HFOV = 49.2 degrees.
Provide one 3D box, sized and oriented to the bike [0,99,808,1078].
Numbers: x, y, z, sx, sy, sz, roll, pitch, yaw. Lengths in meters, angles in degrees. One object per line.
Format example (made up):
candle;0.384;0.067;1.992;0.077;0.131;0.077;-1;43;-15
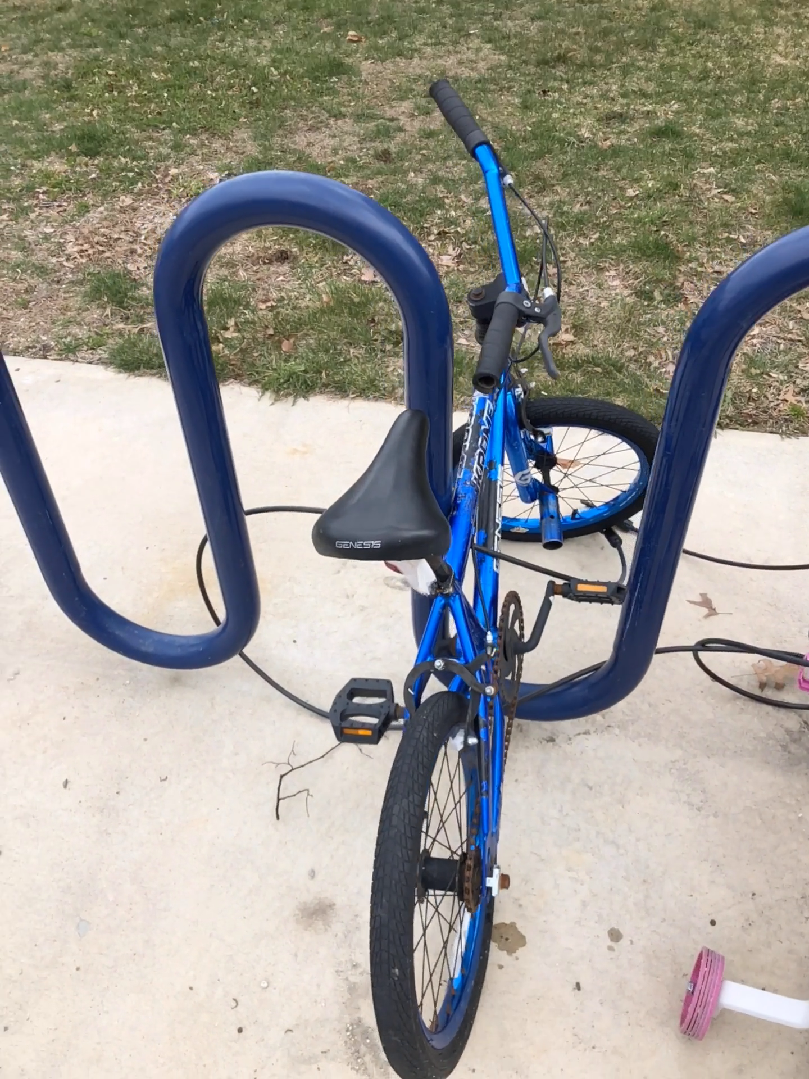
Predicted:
bike;0.097;0.029;1.148;0.621;0.840;1.035;13;43;16
